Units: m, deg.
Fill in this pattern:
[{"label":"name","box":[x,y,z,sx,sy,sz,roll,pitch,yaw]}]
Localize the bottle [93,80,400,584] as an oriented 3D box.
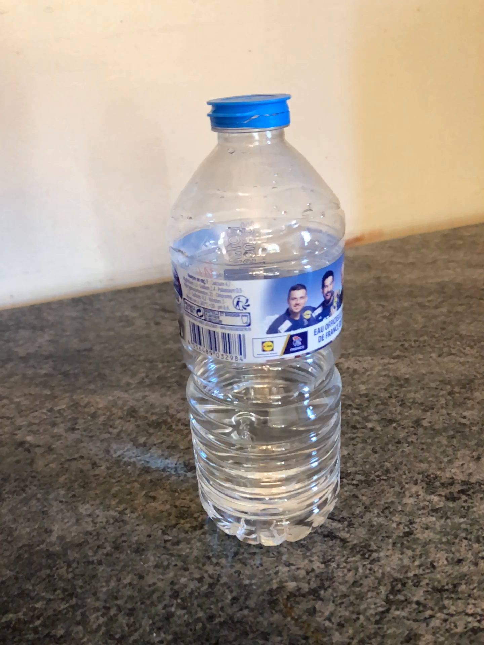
[{"label":"bottle","box":[0.009,0.002,0.210,0.070,0.169,0.070,-4,27,2]}]
